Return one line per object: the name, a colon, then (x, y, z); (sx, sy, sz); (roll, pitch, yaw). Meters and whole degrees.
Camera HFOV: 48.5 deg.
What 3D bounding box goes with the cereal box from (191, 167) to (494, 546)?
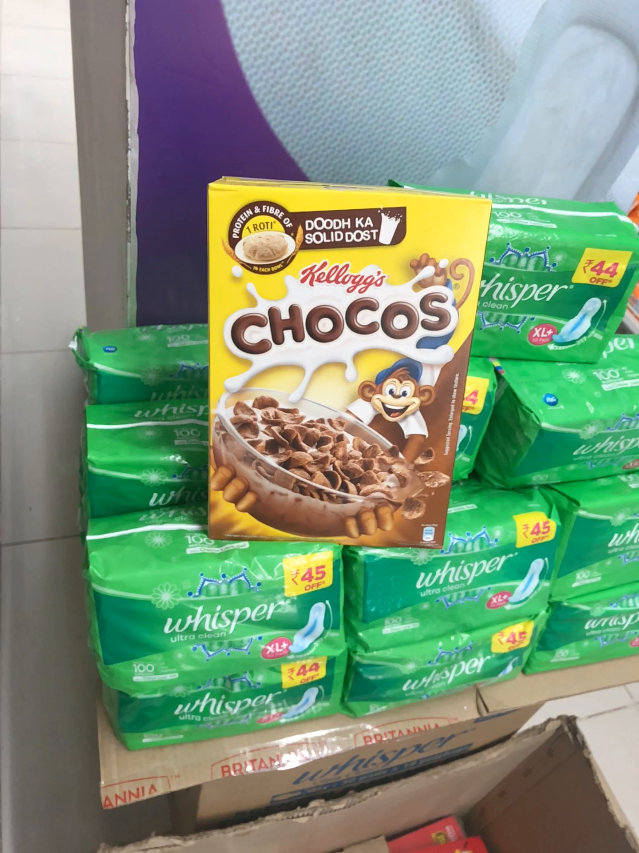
cereal box: (0.007, -0.048, 0.528); (0.190, 0.259, 0.080); (3, 22, -2)
